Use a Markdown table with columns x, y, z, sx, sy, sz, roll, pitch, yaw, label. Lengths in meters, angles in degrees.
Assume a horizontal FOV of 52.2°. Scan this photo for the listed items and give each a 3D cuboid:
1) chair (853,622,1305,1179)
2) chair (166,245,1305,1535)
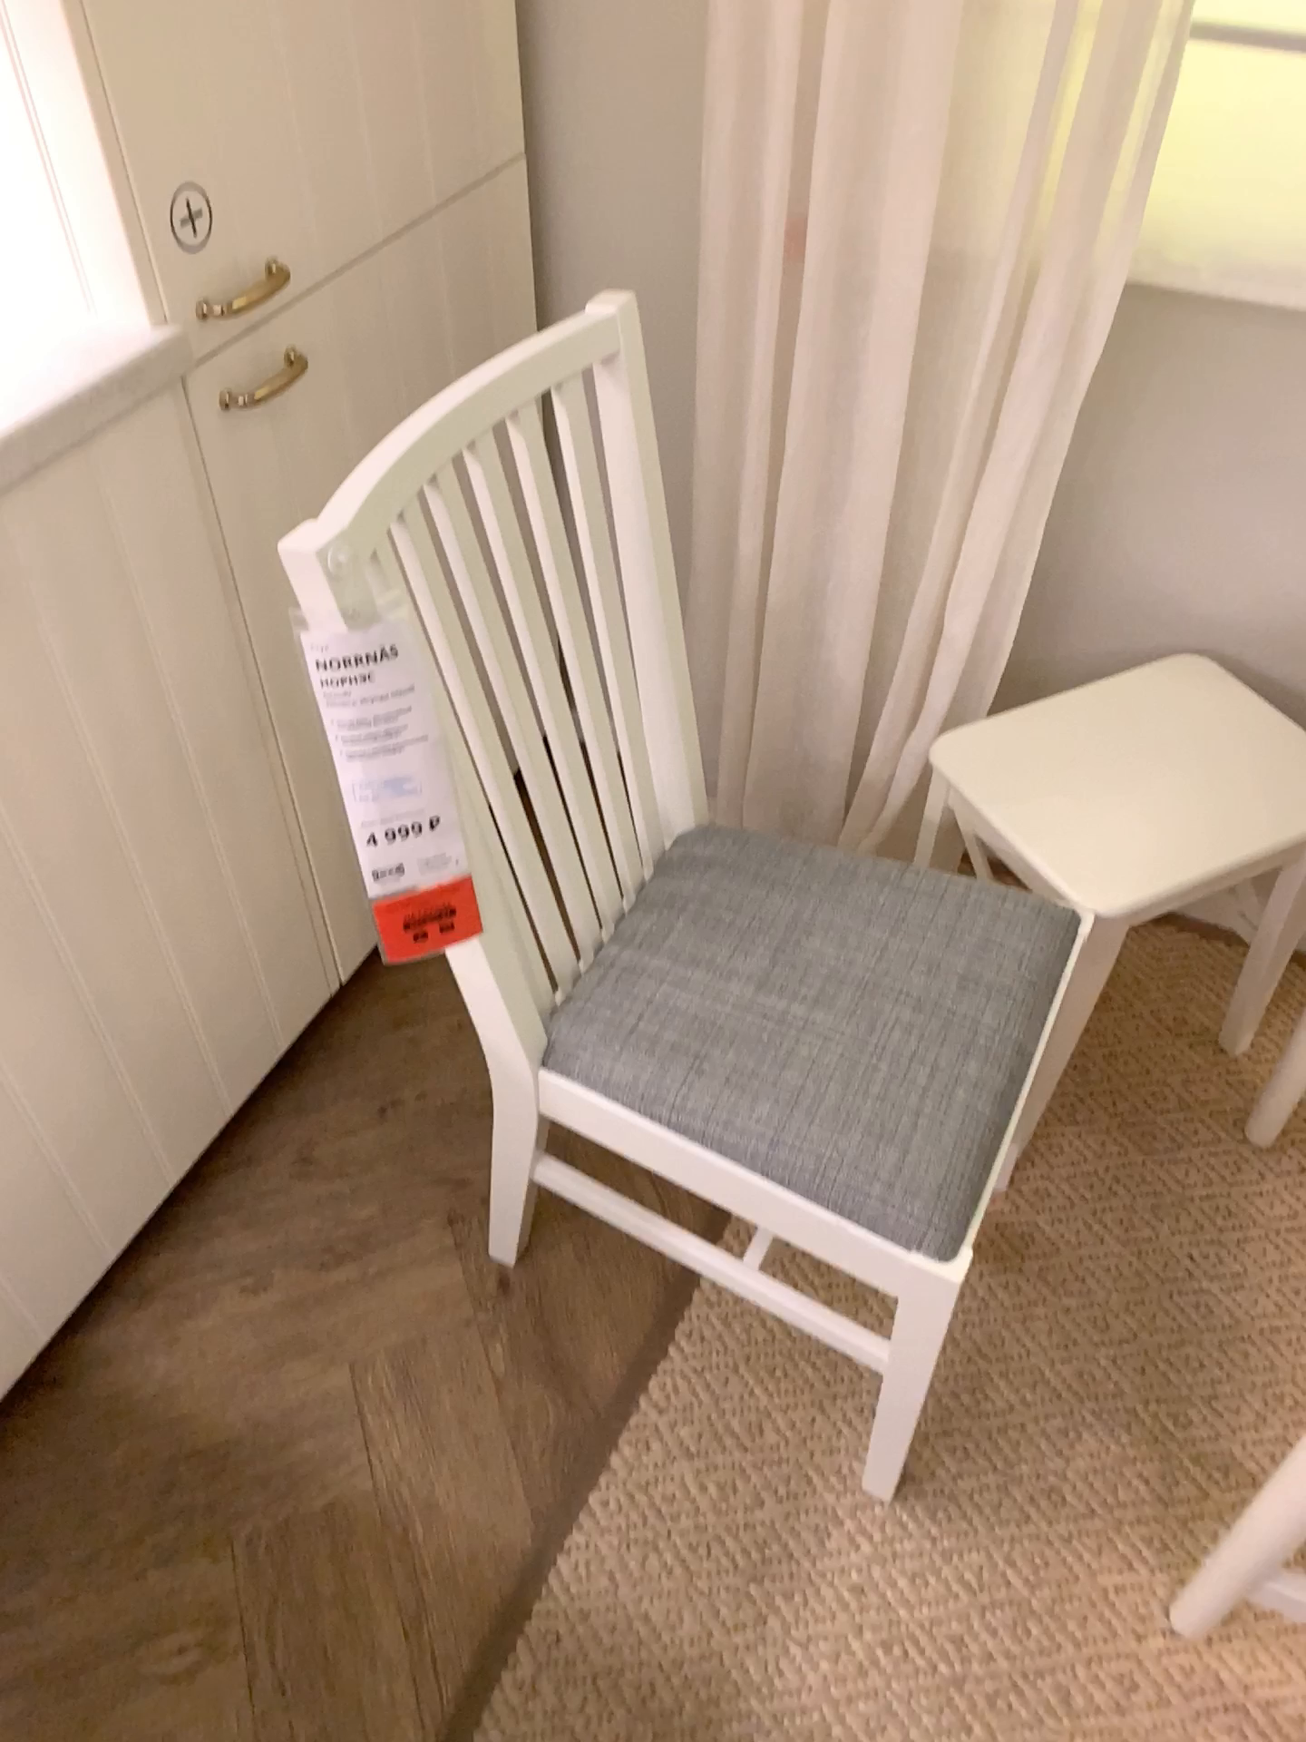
| x | y | z | sx | sy | sz | roll | pitch | yaw | label |
| --- | --- | --- | --- | --- | --- | --- | --- | --- | --- |
| 0.565 | 0.023 | 1.613 | 0.461 | 0.388 | 0.401 | -18 | 48 | -18 | chair |
| 0.095 | 0.043 | 1.233 | 0.620 | 0.916 | 0.552 | 20 | 48 | 18 | chair |
